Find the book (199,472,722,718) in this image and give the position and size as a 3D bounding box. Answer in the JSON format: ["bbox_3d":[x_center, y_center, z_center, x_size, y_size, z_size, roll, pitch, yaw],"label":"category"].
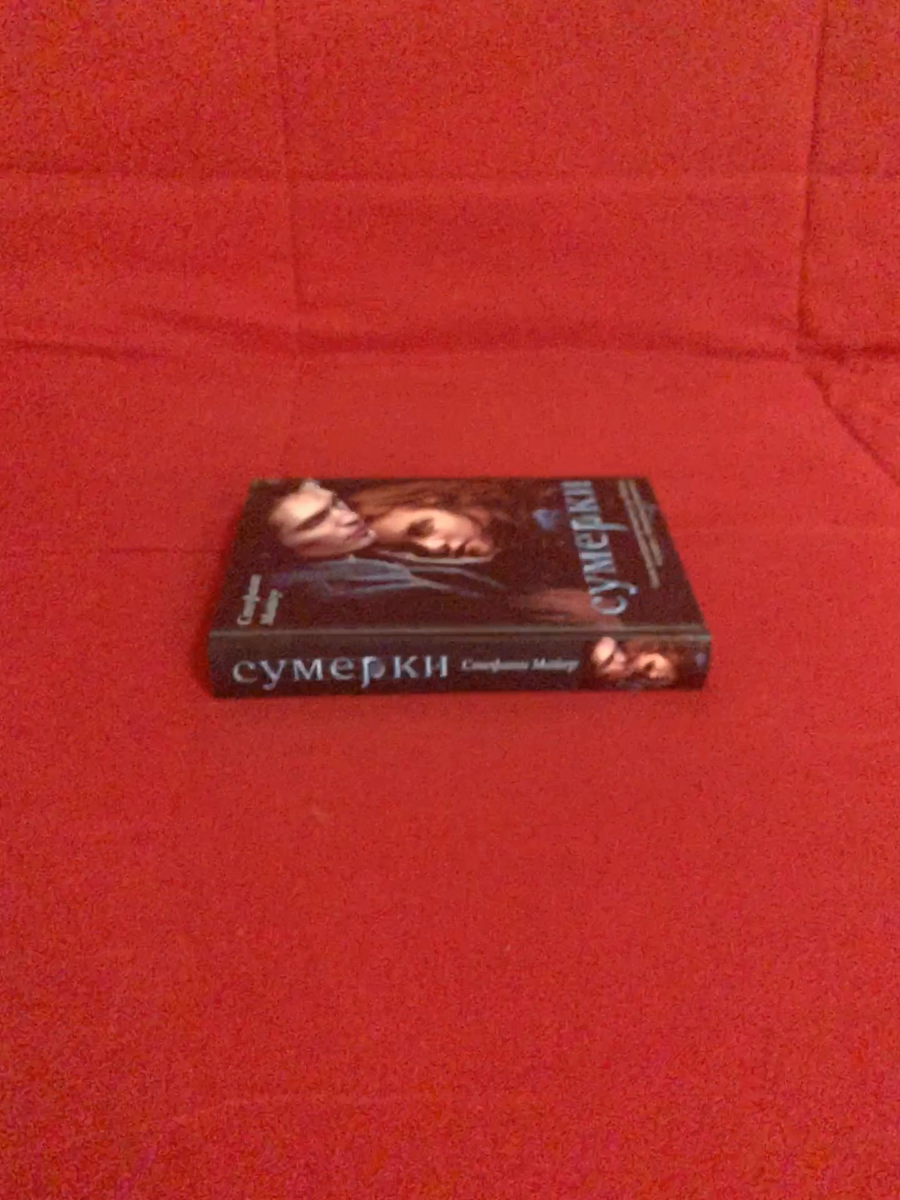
[{"bbox_3d":[0.003,-0.008,0.434,0.209,0.036,0.135,0,40,-2],"label":"book"}]
